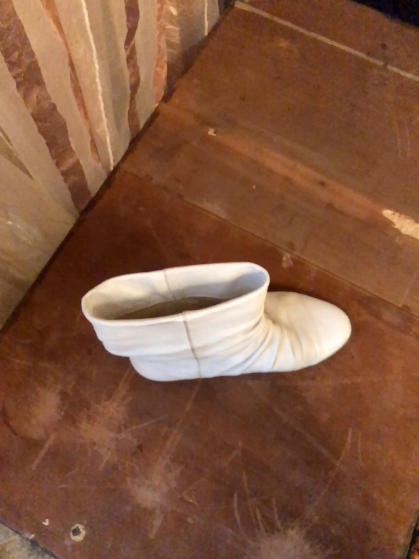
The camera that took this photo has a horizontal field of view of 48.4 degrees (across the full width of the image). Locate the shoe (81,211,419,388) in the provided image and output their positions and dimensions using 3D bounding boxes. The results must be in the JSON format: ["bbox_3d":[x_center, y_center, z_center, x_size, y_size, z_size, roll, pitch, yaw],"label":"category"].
[{"bbox_3d":[0.027,0.030,0.423,0.240,0.170,0.100,-4,71,-2],"label":"shoe"}]
